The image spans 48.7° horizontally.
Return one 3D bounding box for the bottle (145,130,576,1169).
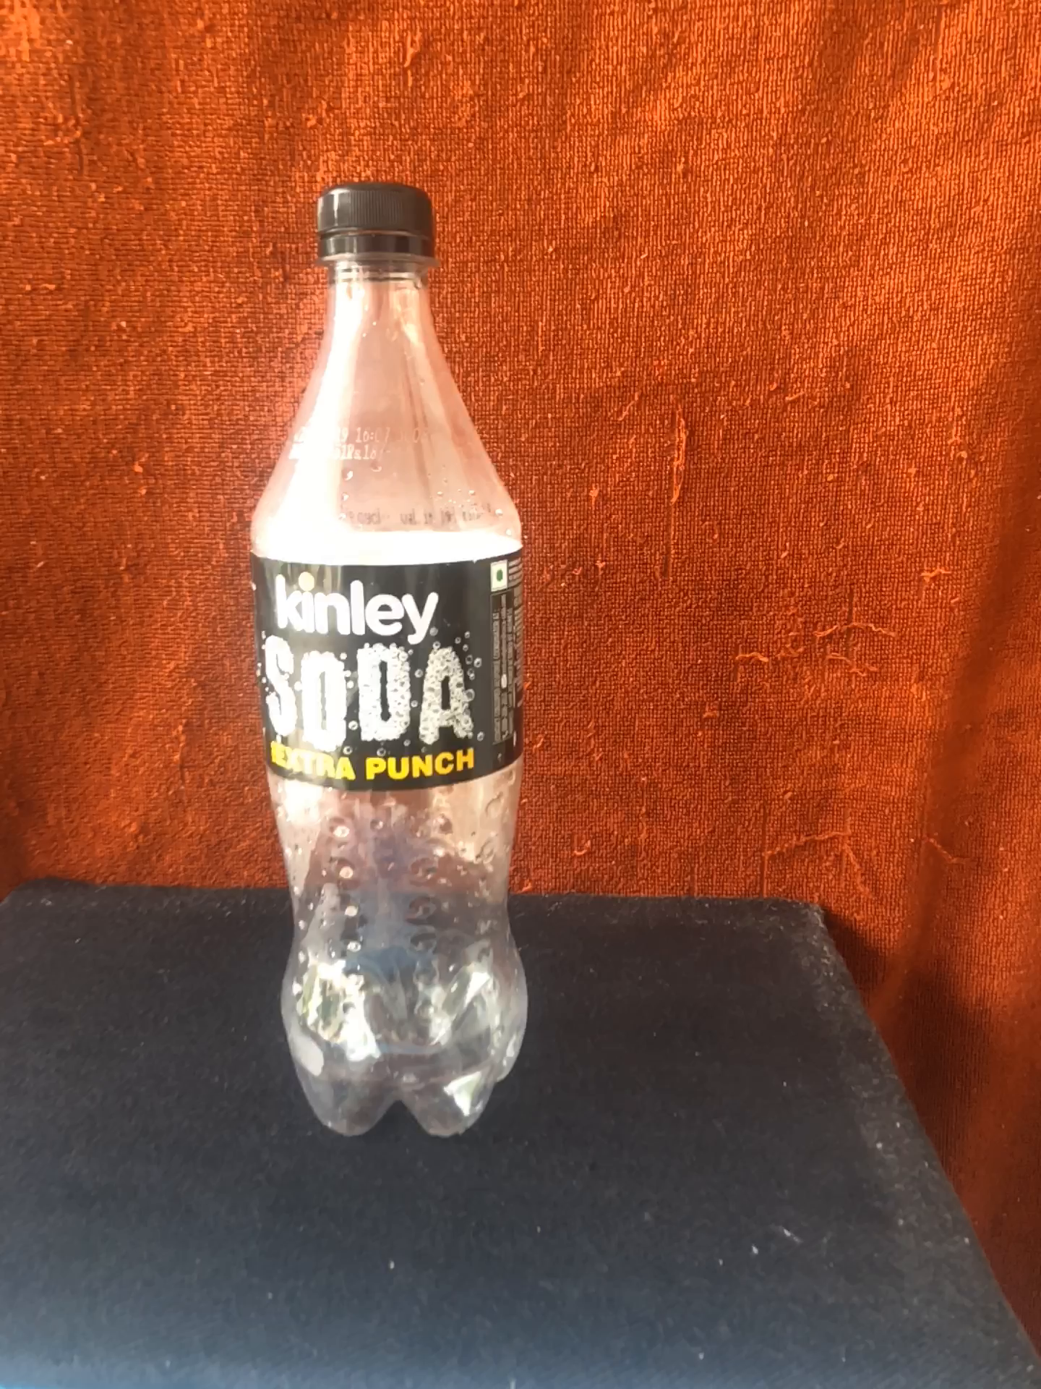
[{"bbox_3d":[-0.037,-0.007,0.318,0.090,0.259,0.070,3,16,6],"label":"bottle"}]
